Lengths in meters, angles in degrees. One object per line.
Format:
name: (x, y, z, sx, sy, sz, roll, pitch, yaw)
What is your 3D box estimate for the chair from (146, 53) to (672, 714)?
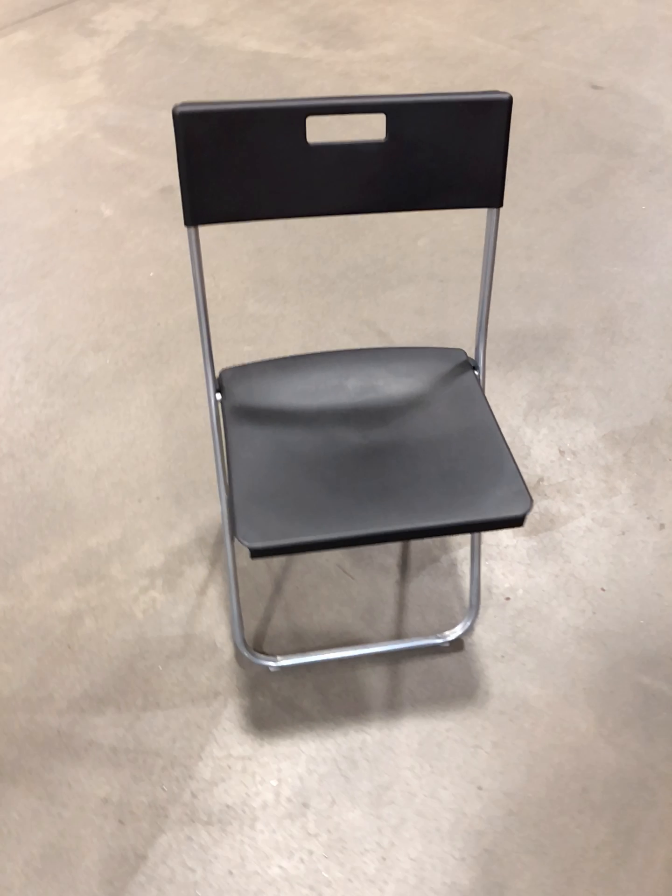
chair: (0.036, -0.033, 0.999, 0.460, 0.758, 0.461, -5, 51, -8)
